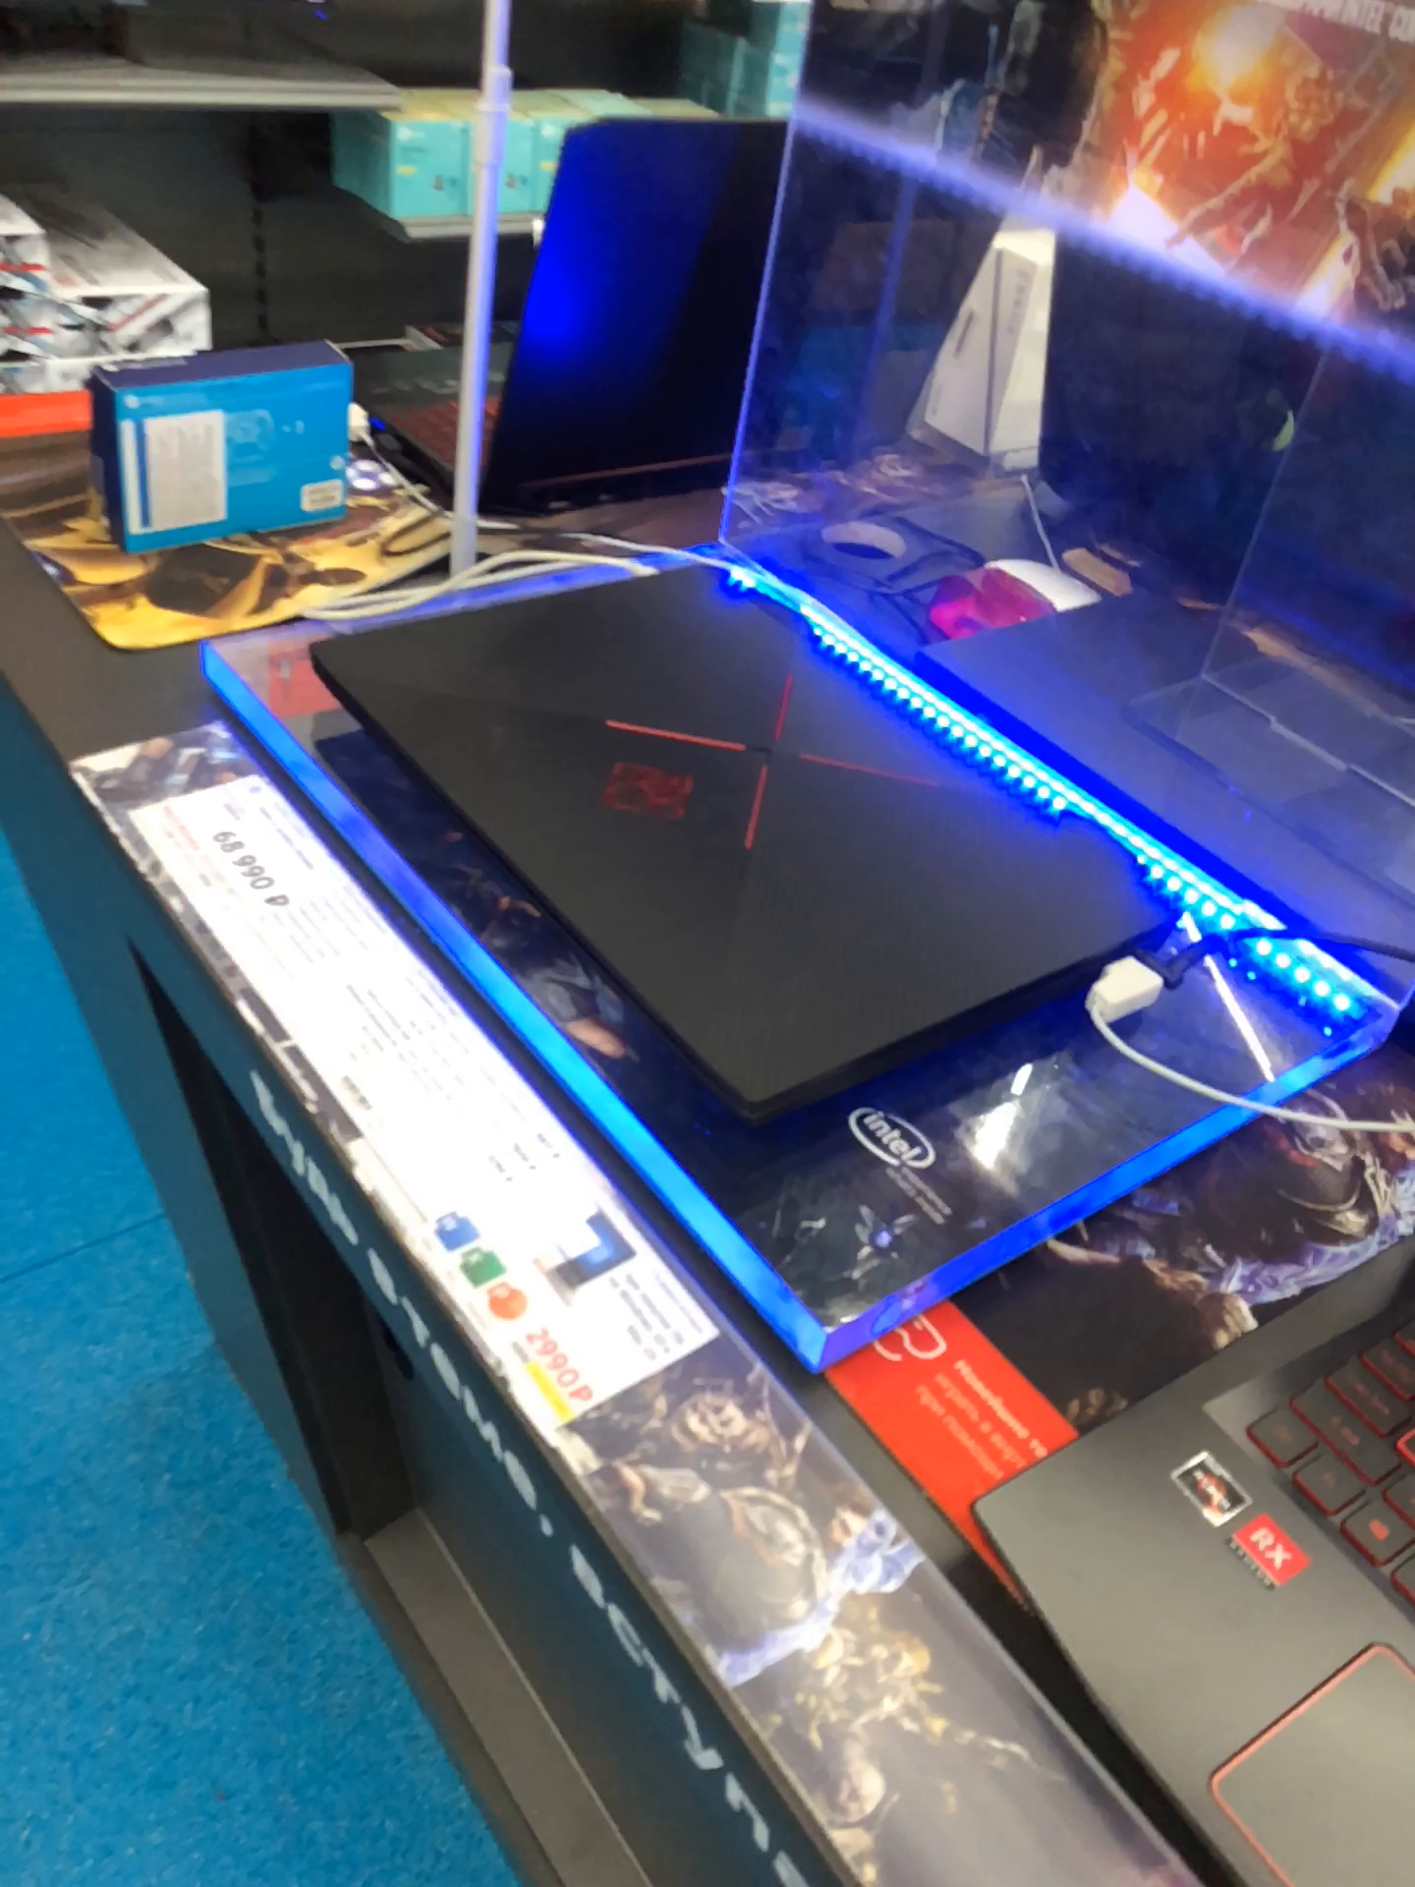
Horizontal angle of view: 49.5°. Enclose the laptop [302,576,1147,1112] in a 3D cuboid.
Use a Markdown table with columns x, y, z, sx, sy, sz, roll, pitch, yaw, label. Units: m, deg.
| x | y | z | sx | sy | sz | roll | pitch | yaw | label |
| --- | --- | --- | --- | --- | --- | --- | --- | --- | --- |
| -0.004 | -0.075 | 0.704 | 0.237 | 0.003 | 0.350 | -19 | 46 | -31 | laptop |
